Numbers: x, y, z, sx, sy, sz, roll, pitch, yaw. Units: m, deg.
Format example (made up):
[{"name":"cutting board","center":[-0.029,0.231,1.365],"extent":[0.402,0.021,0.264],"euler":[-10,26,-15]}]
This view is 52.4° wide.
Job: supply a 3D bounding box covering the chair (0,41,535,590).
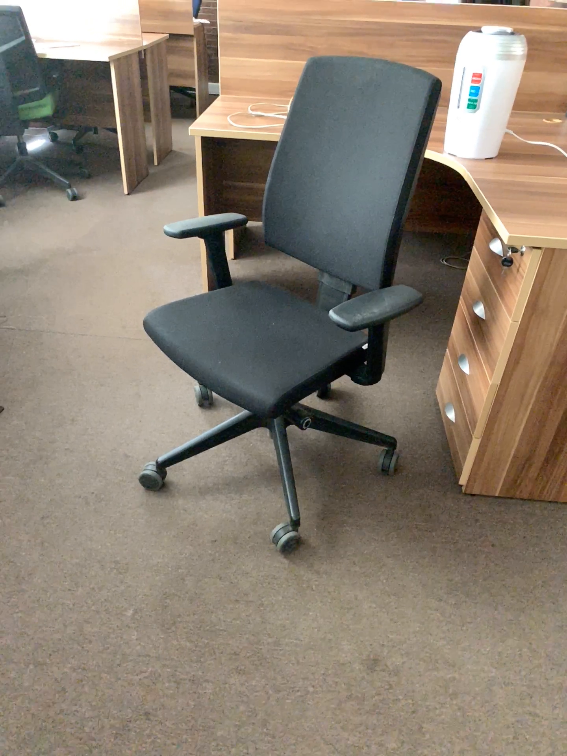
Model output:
[{"name":"chair","center":[-0.032,-0.226,1.374],"extent":[0.792,0.915,0.672],"euler":[-28,45,-36]}]
